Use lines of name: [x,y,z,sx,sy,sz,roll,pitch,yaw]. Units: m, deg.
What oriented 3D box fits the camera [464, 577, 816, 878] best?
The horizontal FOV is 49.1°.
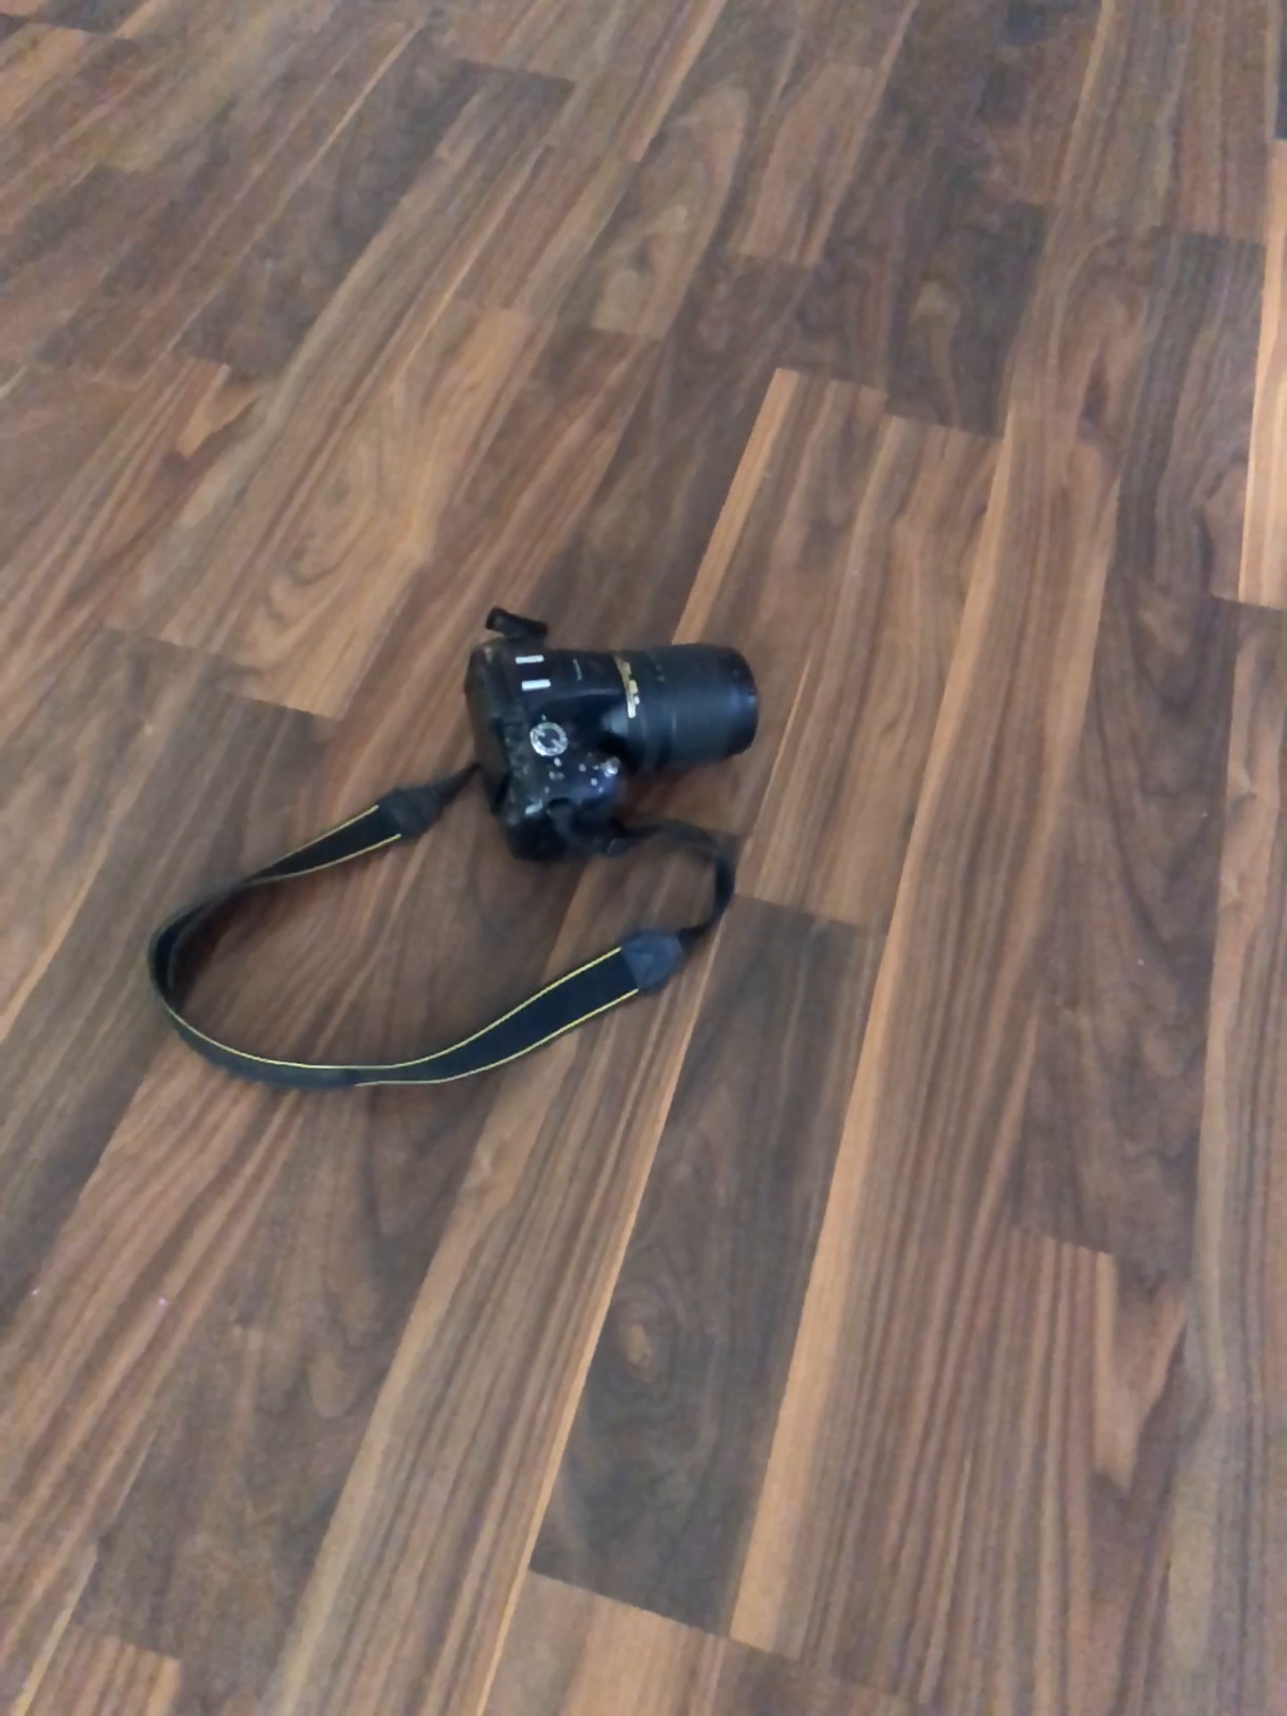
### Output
camera: [-0.005,-0.074,0.778,0.160,0.070,0.120,-13,55,-11]
